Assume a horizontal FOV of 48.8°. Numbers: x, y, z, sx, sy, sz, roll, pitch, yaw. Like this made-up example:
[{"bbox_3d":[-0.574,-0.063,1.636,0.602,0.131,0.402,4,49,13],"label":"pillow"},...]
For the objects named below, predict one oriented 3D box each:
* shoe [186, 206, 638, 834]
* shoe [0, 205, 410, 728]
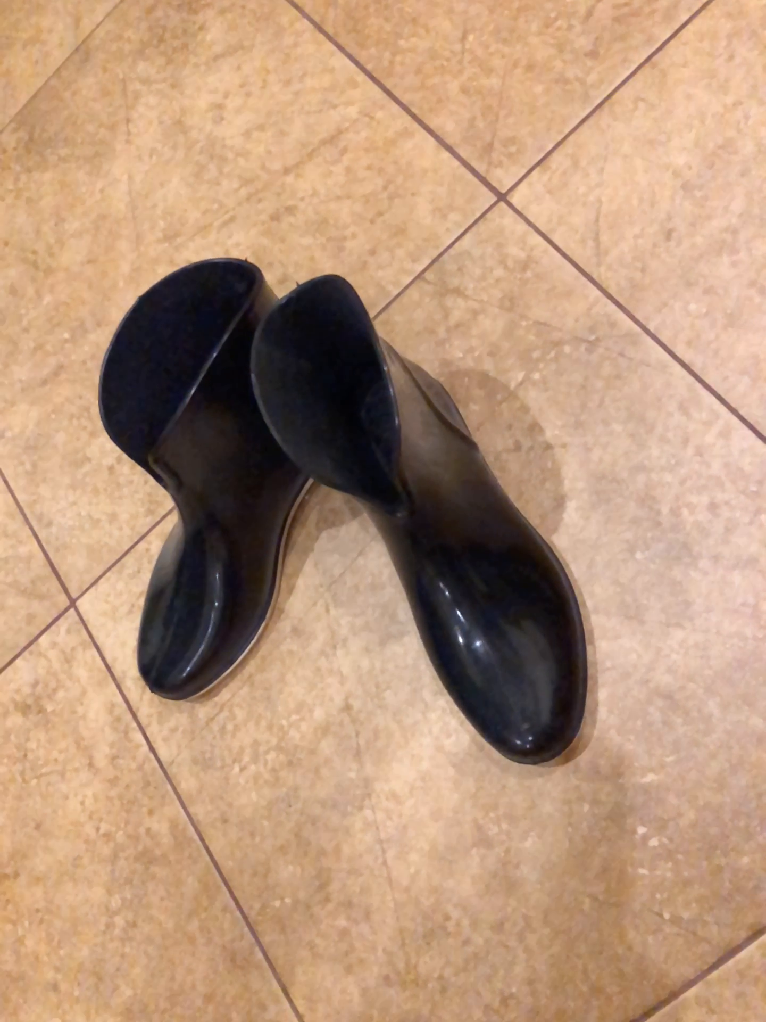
[{"bbox_3d":[0.020,0.010,0.413,0.090,0.170,0.241,-27,69,15],"label":"shoe"},{"bbox_3d":[-0.110,-0.009,0.475,0.090,0.170,0.240,30,90,25],"label":"shoe"}]
